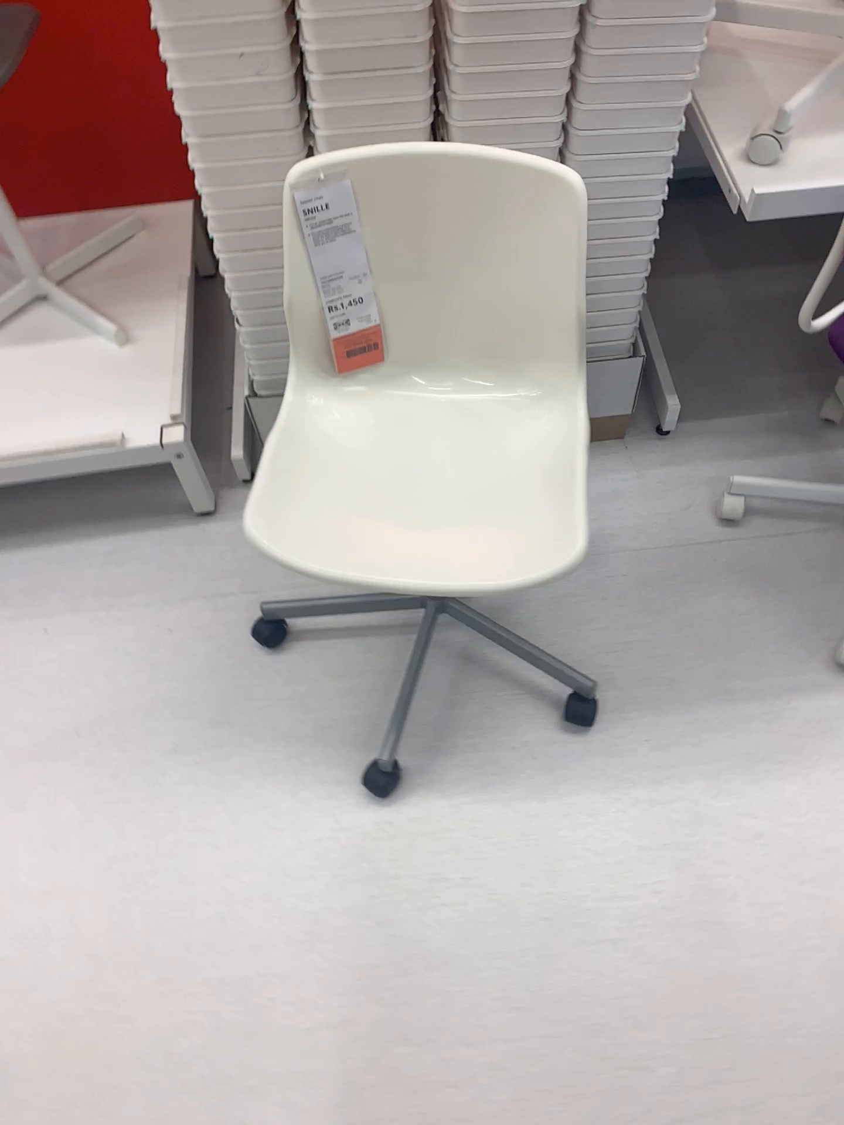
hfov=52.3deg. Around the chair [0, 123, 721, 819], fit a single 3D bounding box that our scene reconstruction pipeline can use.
[{"bbox_3d":[-0.021,-0.096,1.225,0.640,0.688,0.682,1,56,5],"label":"chair"}]
